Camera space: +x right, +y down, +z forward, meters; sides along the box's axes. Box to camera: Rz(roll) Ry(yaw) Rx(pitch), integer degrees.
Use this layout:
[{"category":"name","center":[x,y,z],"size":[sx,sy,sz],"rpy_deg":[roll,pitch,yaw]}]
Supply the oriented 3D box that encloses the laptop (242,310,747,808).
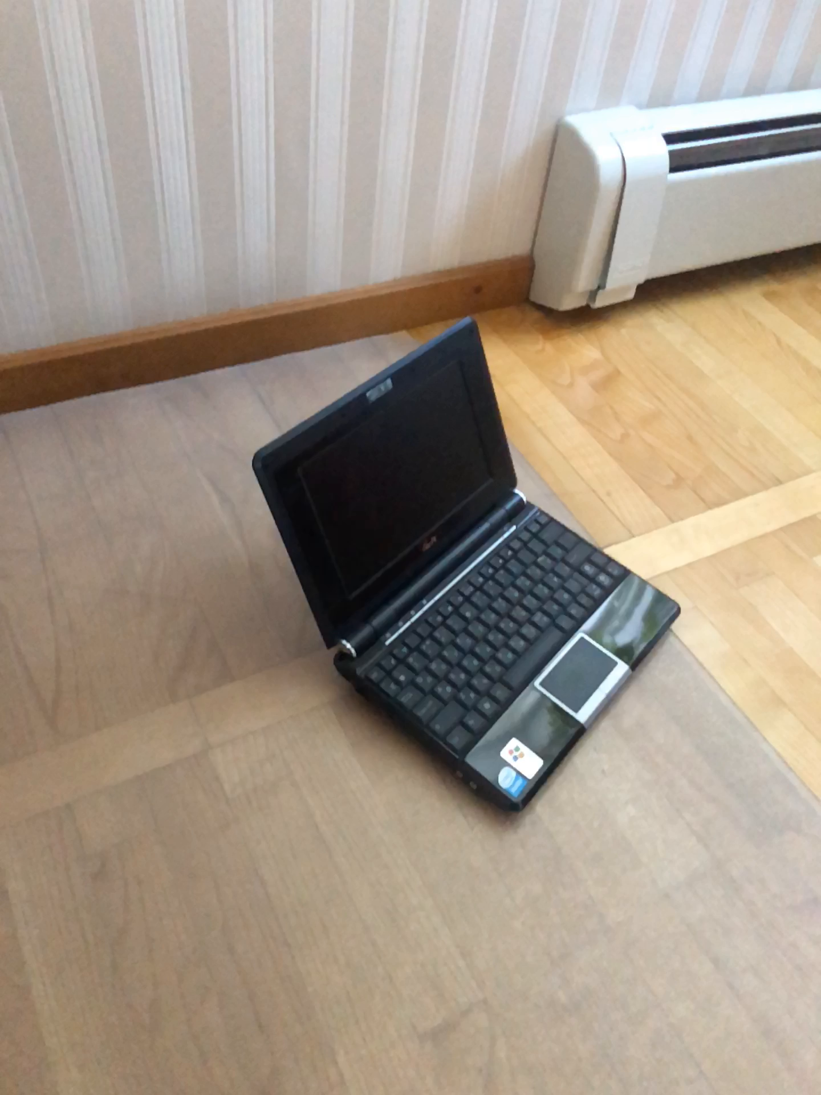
[{"category":"laptop","center":[0.063,-0.009,0.724],"size":[0.276,0.159,0.265],"rpy_deg":[35,51,20]}]
